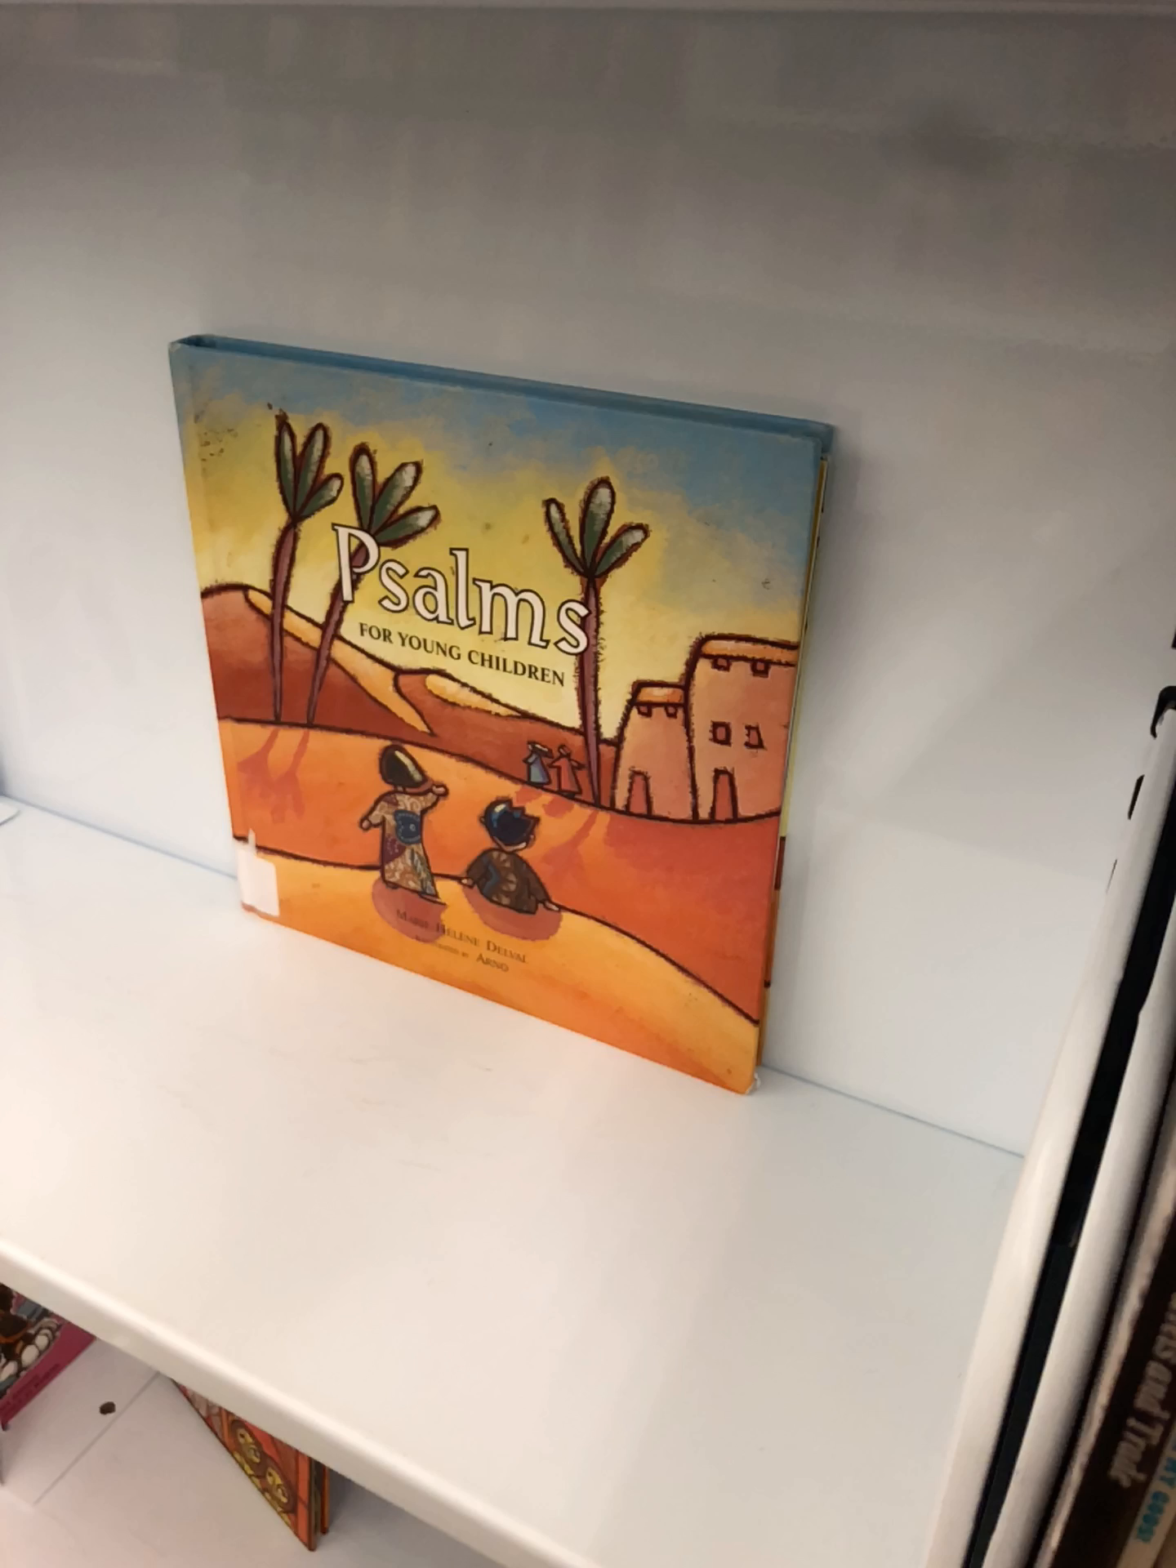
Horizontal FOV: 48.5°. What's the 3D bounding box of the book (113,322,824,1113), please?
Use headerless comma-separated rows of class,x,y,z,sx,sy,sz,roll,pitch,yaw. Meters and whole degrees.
book,-0.045,-0.021,0.399,0.212,0.205,0.021,16,32,24
